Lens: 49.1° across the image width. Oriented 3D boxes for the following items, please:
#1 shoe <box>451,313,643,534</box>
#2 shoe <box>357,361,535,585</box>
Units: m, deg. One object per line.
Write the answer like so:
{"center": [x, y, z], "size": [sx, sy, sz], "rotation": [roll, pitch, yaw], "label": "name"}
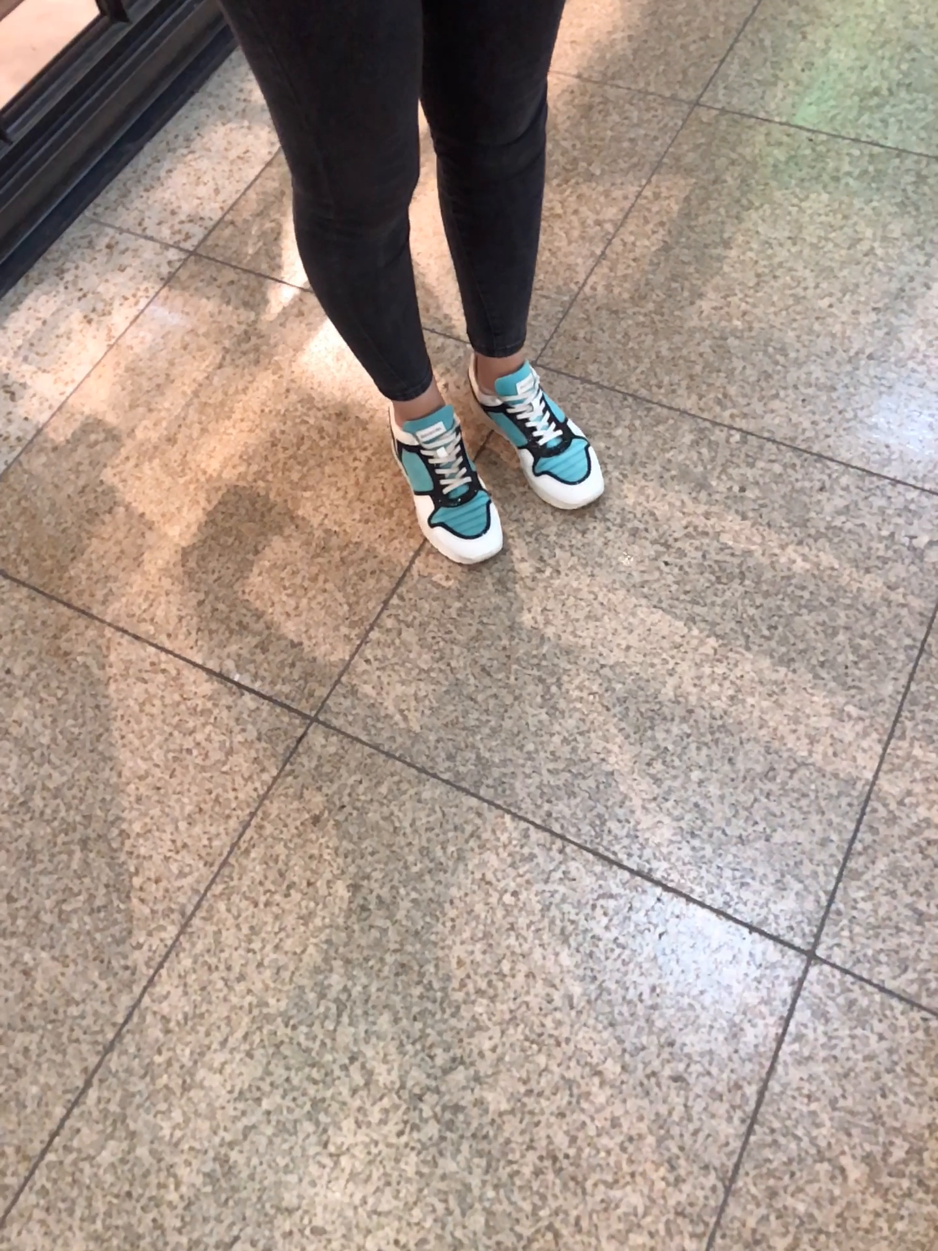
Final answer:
{"center": [0.094, -0.254, 1.276], "size": [0.110, 0.100, 0.250], "rotation": [-31, 62, -10], "label": "shoe"}
{"center": [-0.028, -0.187, 1.239], "size": [0.107, 0.100, 0.240], "rotation": [-27, 62, -8], "label": "shoe"}
